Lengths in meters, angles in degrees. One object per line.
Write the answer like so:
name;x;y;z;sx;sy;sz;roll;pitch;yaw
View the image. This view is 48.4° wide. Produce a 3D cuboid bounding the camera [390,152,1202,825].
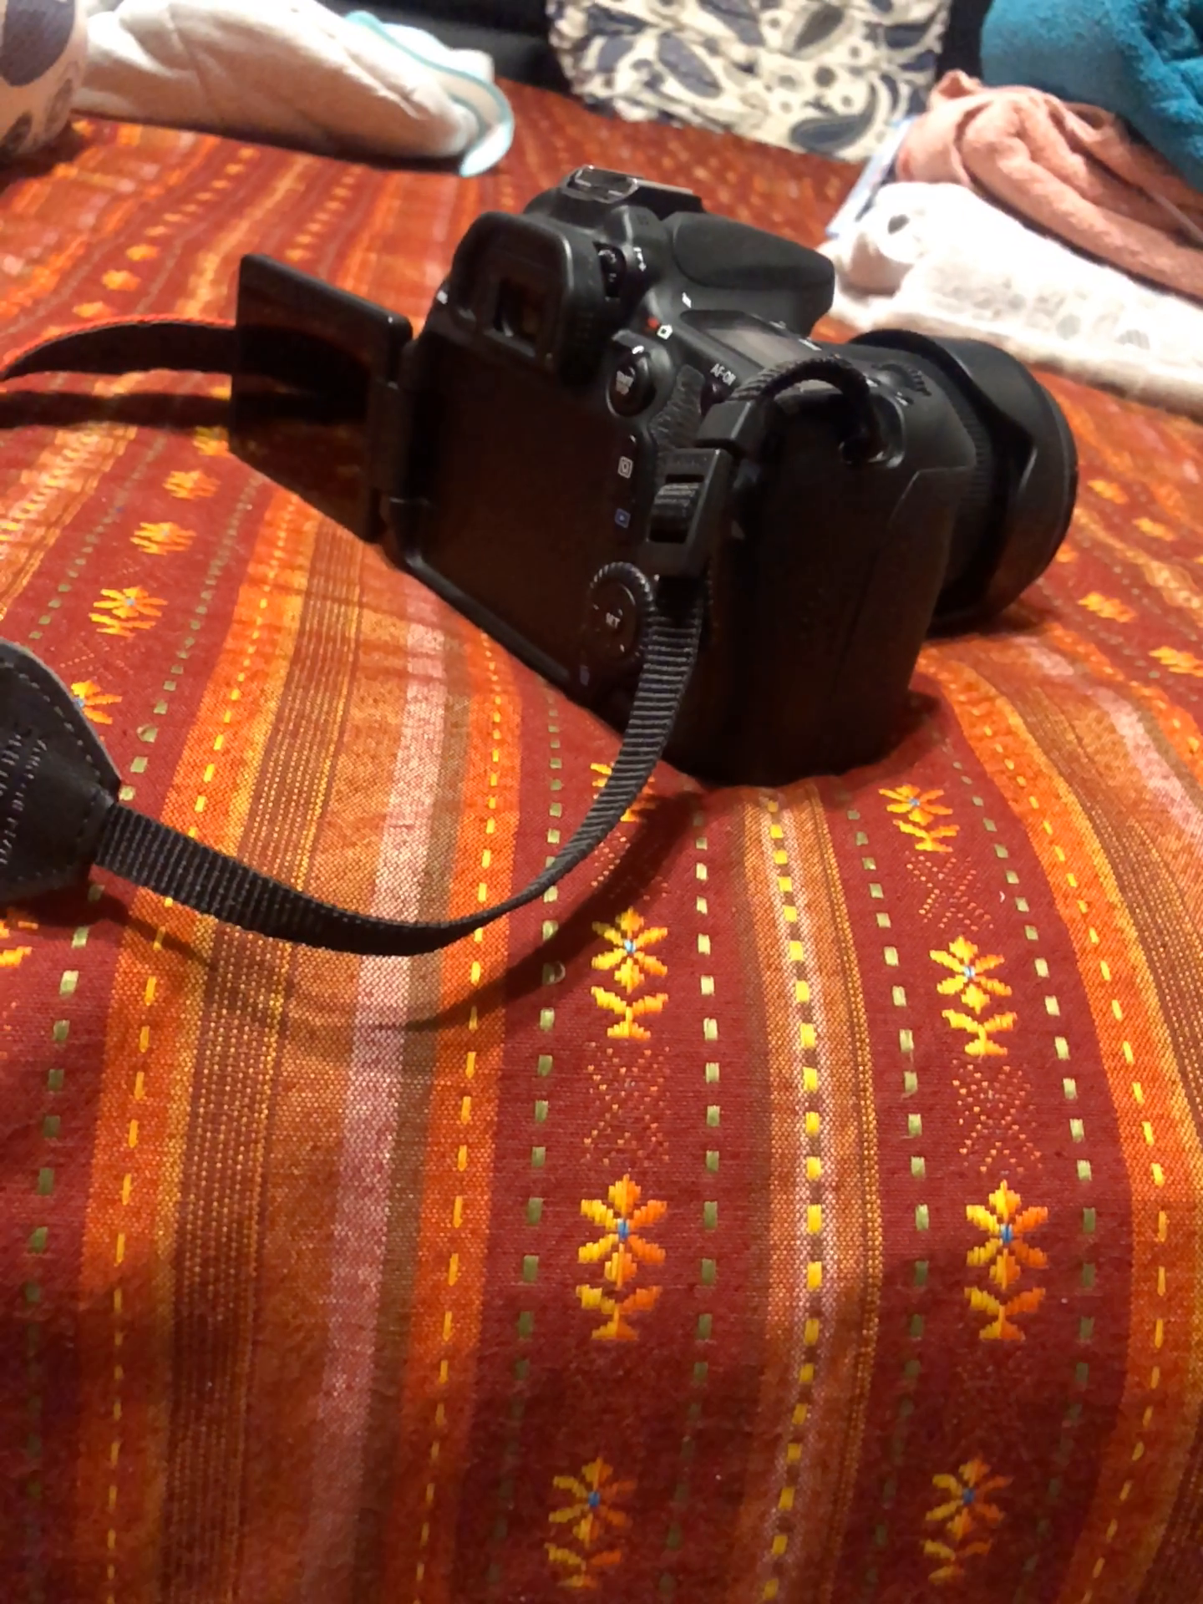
camera;0.059;-0.089;0.338;0.171;0.099;0.130;-17;42;-38
